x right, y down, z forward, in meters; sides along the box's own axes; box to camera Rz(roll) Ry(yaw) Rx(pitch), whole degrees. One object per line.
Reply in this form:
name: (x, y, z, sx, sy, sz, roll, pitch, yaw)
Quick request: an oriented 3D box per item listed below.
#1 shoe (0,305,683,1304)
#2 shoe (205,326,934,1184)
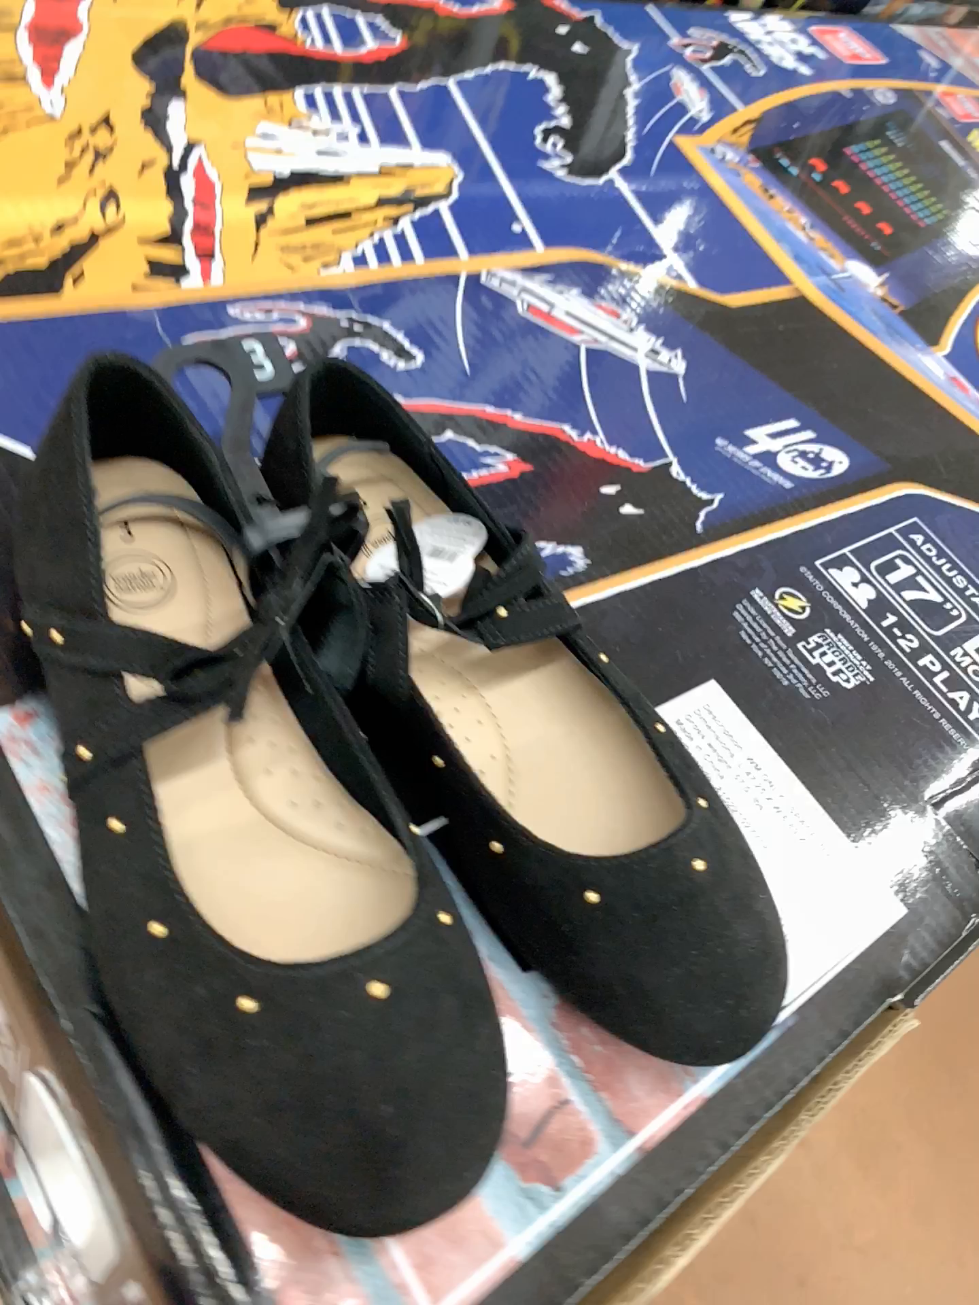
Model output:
shoe: (-0.060, 0.025, 0.253, 0.090, 0.070, 0.240, -12, 64, -30)
shoe: (0.011, 0.017, 0.319, 0.090, 0.070, 0.250, -20, 68, -33)
